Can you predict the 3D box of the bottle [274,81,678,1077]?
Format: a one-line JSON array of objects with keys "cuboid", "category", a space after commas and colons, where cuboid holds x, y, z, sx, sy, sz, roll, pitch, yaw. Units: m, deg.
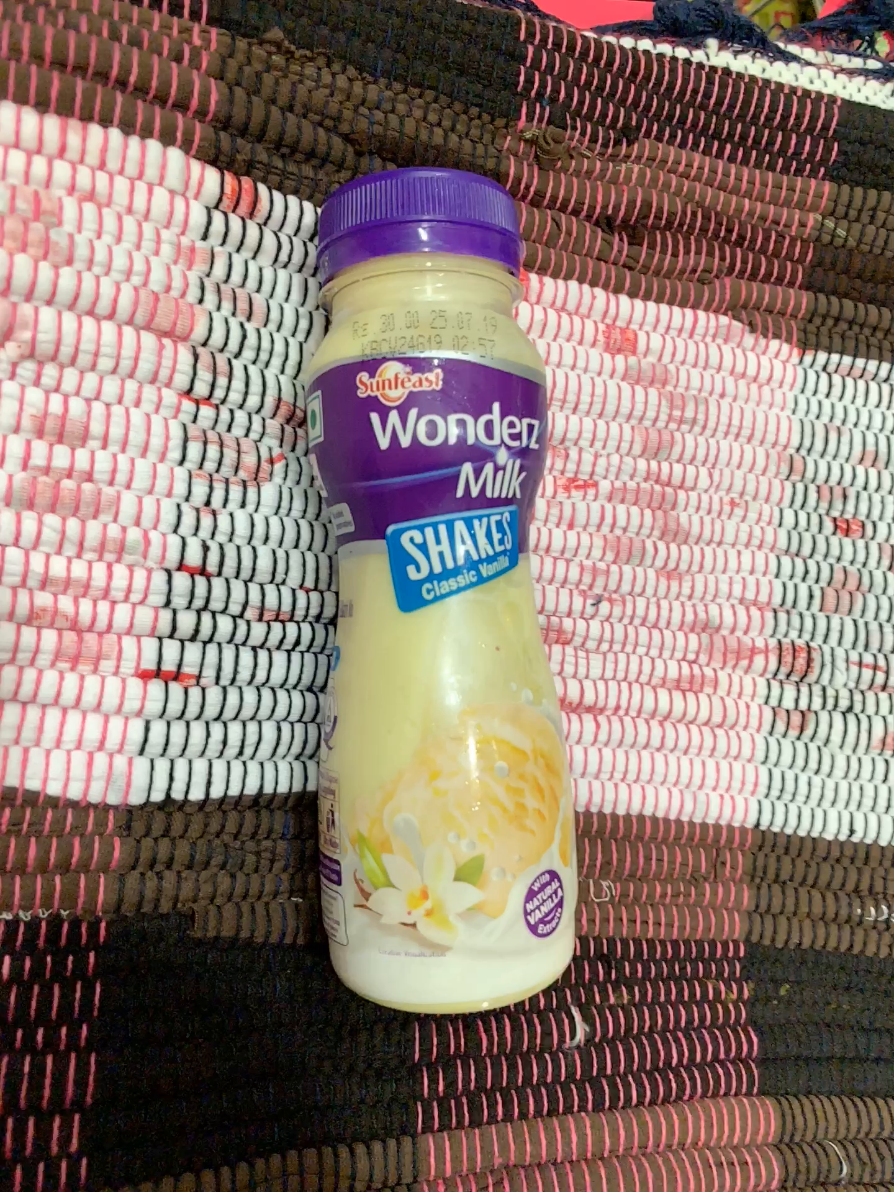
[{"cuboid": [0.003, -0.003, 0.183, 0.060, 0.050, 0.160, -3, 92, -19], "category": "bottle"}]
